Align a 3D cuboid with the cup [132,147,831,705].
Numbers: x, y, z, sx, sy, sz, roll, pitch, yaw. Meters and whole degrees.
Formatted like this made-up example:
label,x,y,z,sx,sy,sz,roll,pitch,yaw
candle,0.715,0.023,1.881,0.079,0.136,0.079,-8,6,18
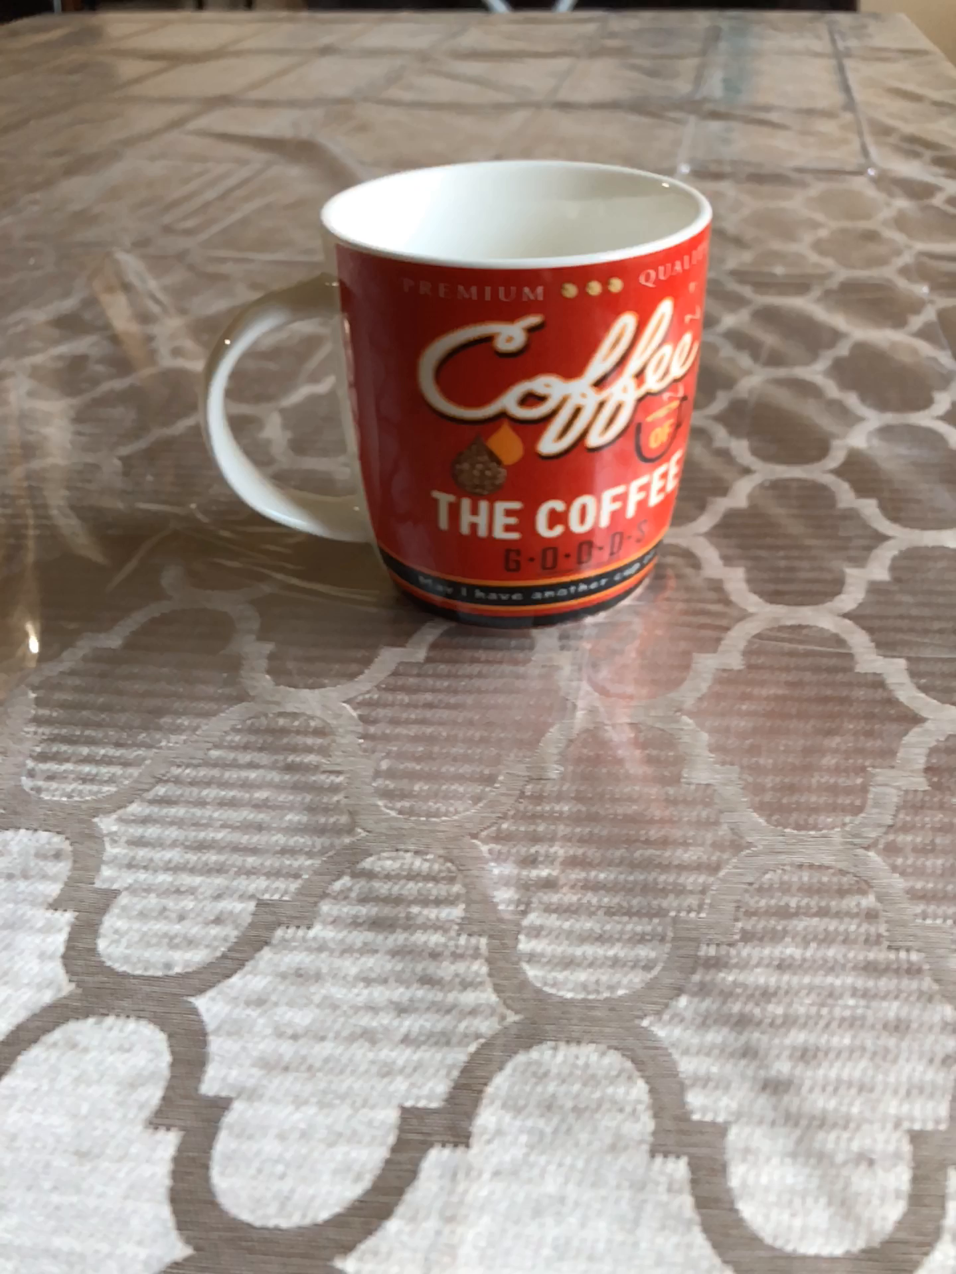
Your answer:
label,x,y,z,sx,sy,sz,roll,pitch,yaw
cup,-0.008,-0.064,0.270,0.130,0.080,0.121,-1,35,1
